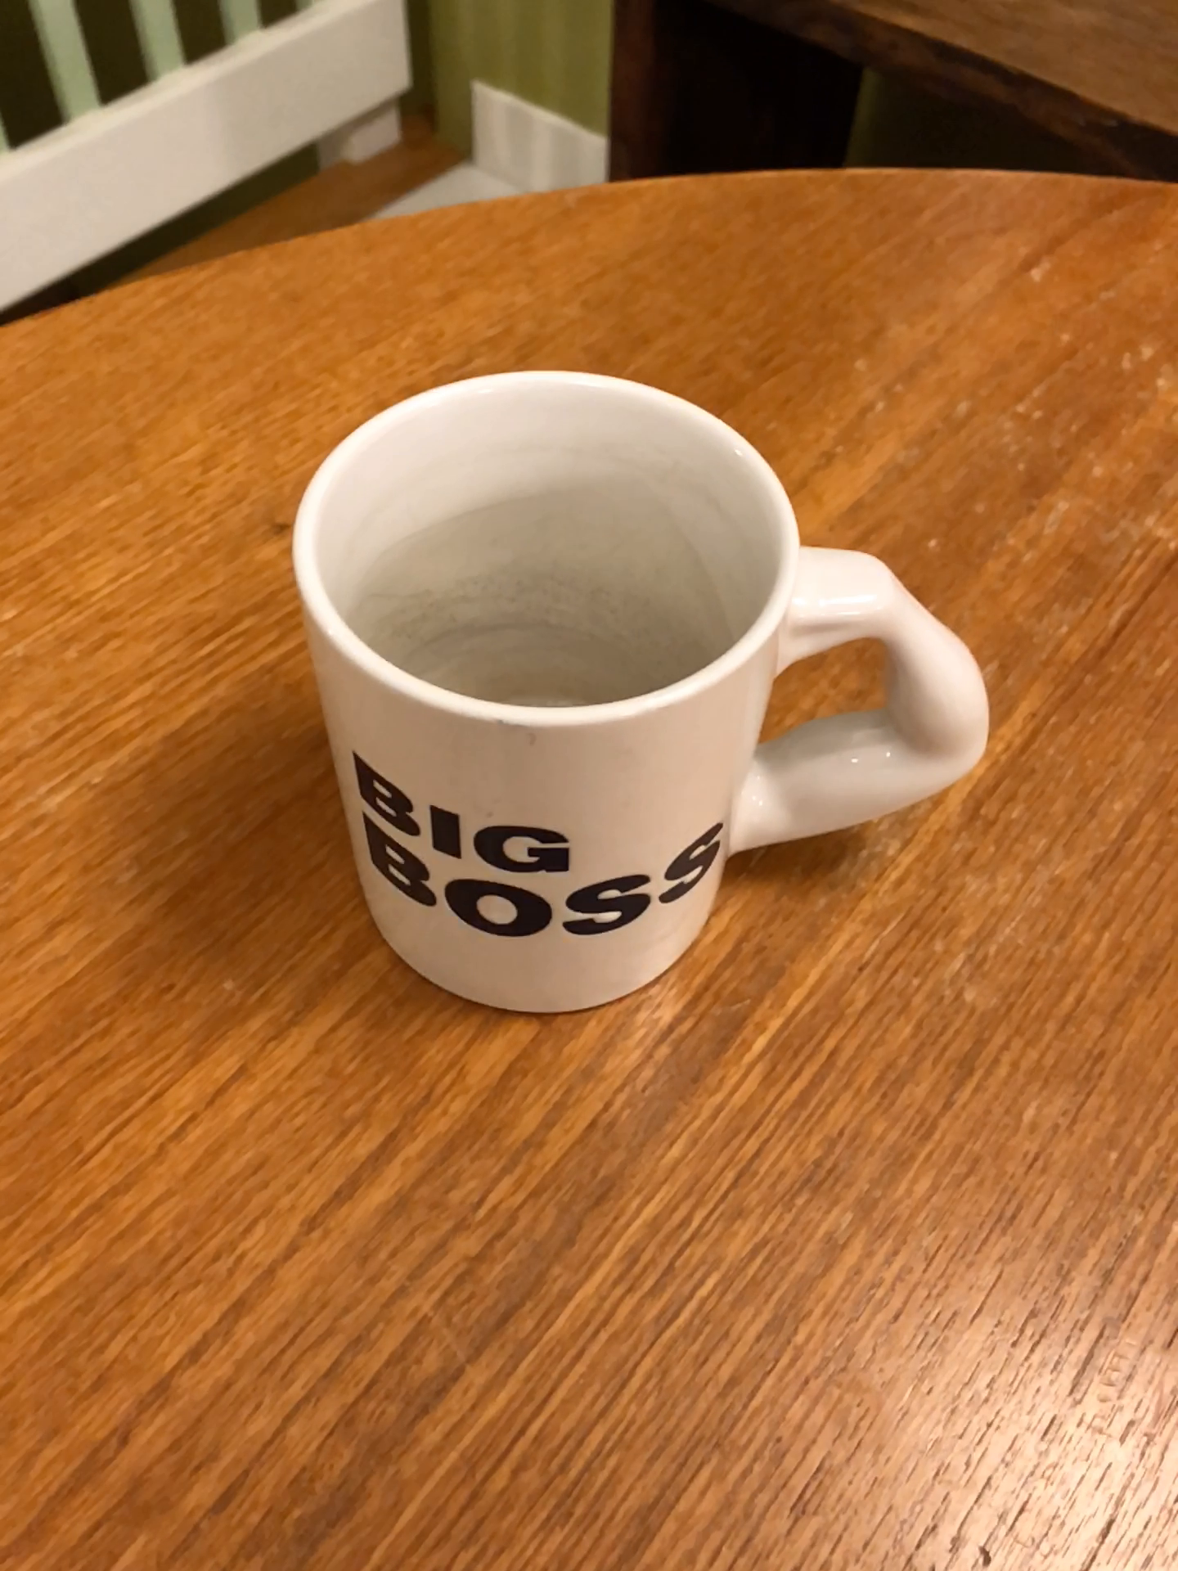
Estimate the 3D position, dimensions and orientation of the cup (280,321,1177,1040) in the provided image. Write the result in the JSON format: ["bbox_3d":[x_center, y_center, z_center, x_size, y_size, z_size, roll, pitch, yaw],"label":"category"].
[{"bbox_3d":[0.017,-0.019,0.260,0.138,0.100,0.088,-5,55,-6],"label":"cup"}]
